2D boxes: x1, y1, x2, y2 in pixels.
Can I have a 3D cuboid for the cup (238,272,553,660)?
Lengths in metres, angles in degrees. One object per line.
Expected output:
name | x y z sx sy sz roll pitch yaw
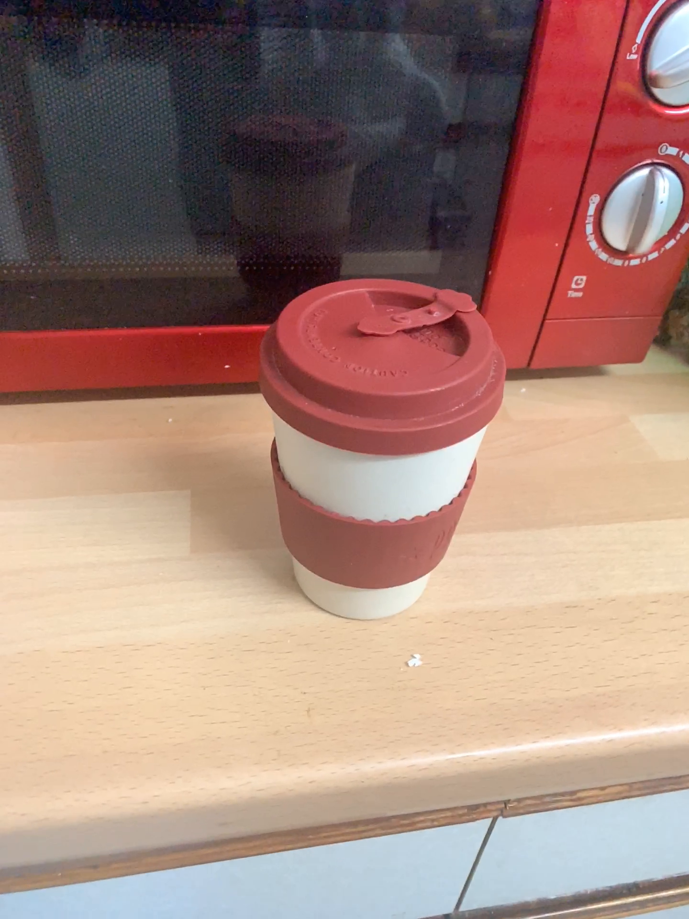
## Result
cup | 0.008 0.001 0.279 0.087 0.115 0.087 3 39 -3
